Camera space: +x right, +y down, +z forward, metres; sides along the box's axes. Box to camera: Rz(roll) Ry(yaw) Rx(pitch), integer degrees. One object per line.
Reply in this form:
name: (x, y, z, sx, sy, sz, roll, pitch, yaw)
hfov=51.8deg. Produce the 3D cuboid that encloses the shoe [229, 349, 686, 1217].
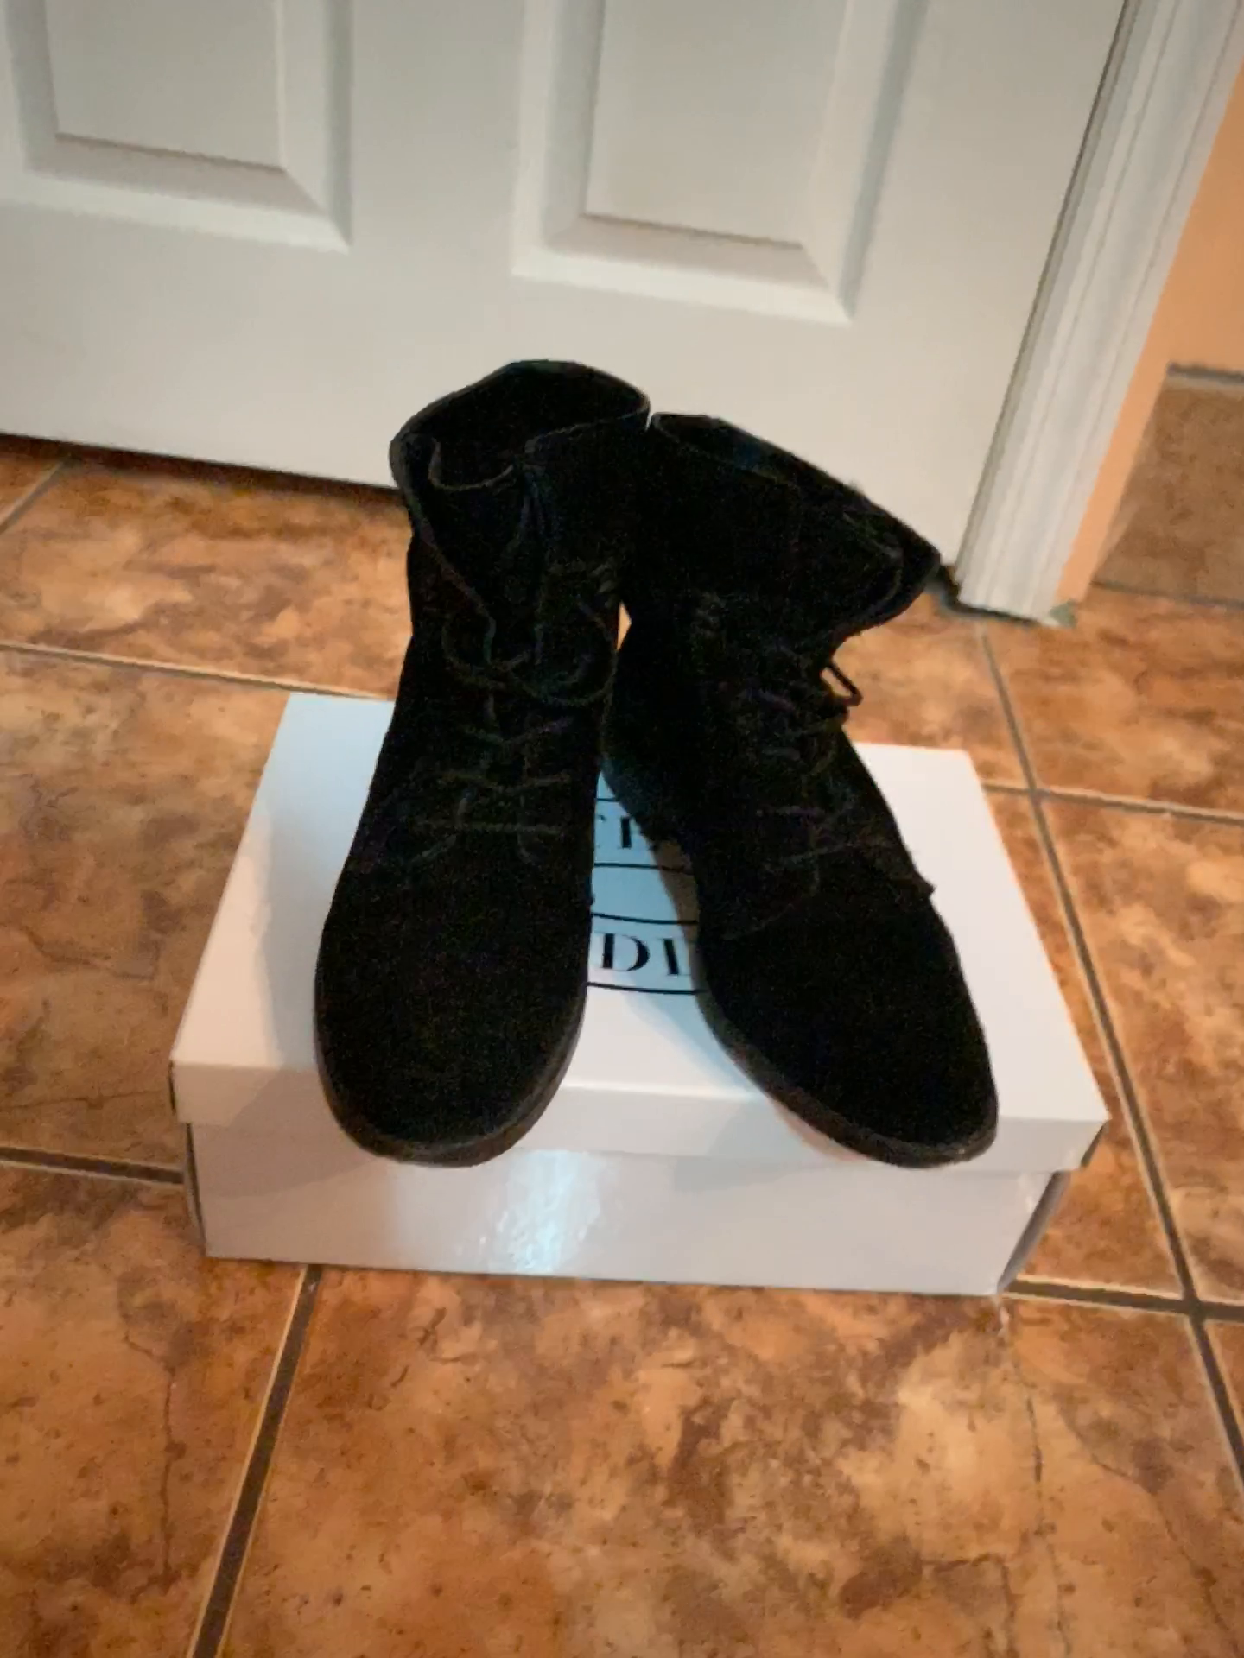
shoe: (-0.039, -0.034, 0.417, 0.094, 0.152, 0.259, 8, 36, -2)

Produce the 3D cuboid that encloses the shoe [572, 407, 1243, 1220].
shoe: (0.071, -0.027, 0.446, 0.107, 0.142, 0.268, -3, 38, -16)
